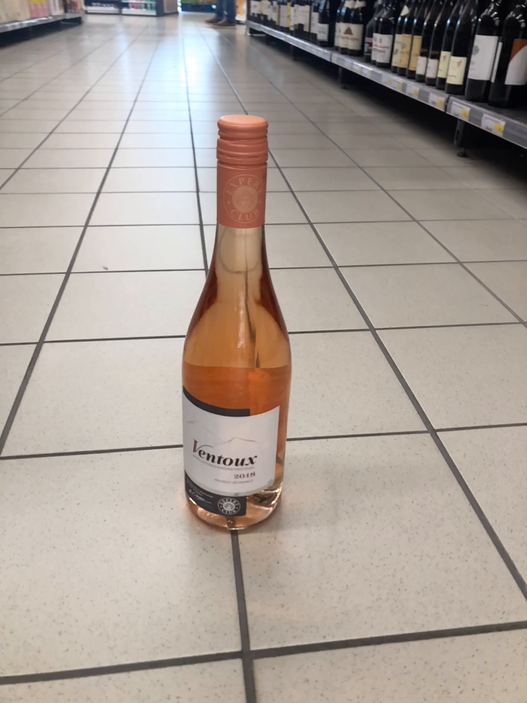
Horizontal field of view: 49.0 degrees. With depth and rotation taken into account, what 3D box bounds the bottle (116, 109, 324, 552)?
[{"bbox_3d":[-0.024,-0.005,0.390,0.090,0.278,0.081,12,31,17],"label":"bottle"}]
